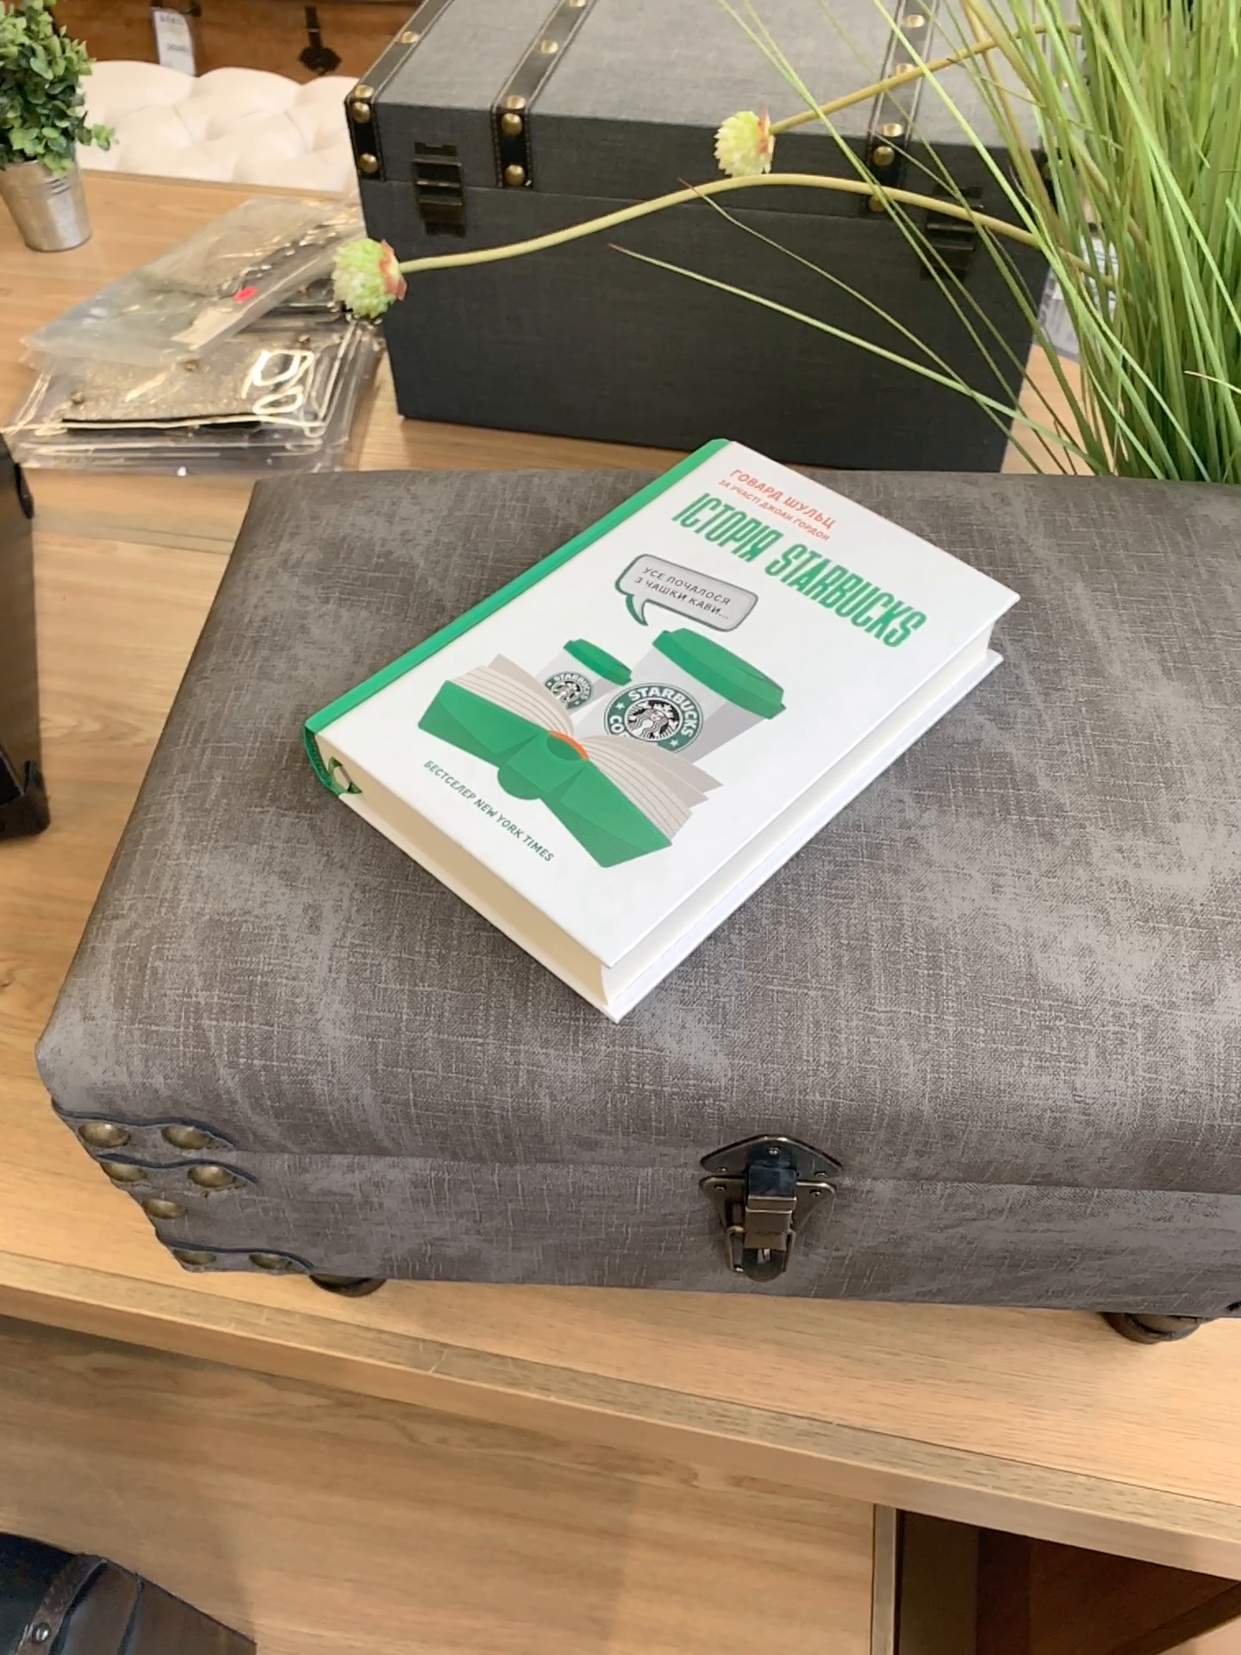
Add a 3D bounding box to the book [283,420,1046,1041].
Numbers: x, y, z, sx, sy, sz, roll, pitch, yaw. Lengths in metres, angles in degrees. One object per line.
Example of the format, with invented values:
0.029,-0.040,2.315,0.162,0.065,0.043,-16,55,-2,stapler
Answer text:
0.022,-0.054,0.477,0.160,0.040,0.235,36,60,26,book
